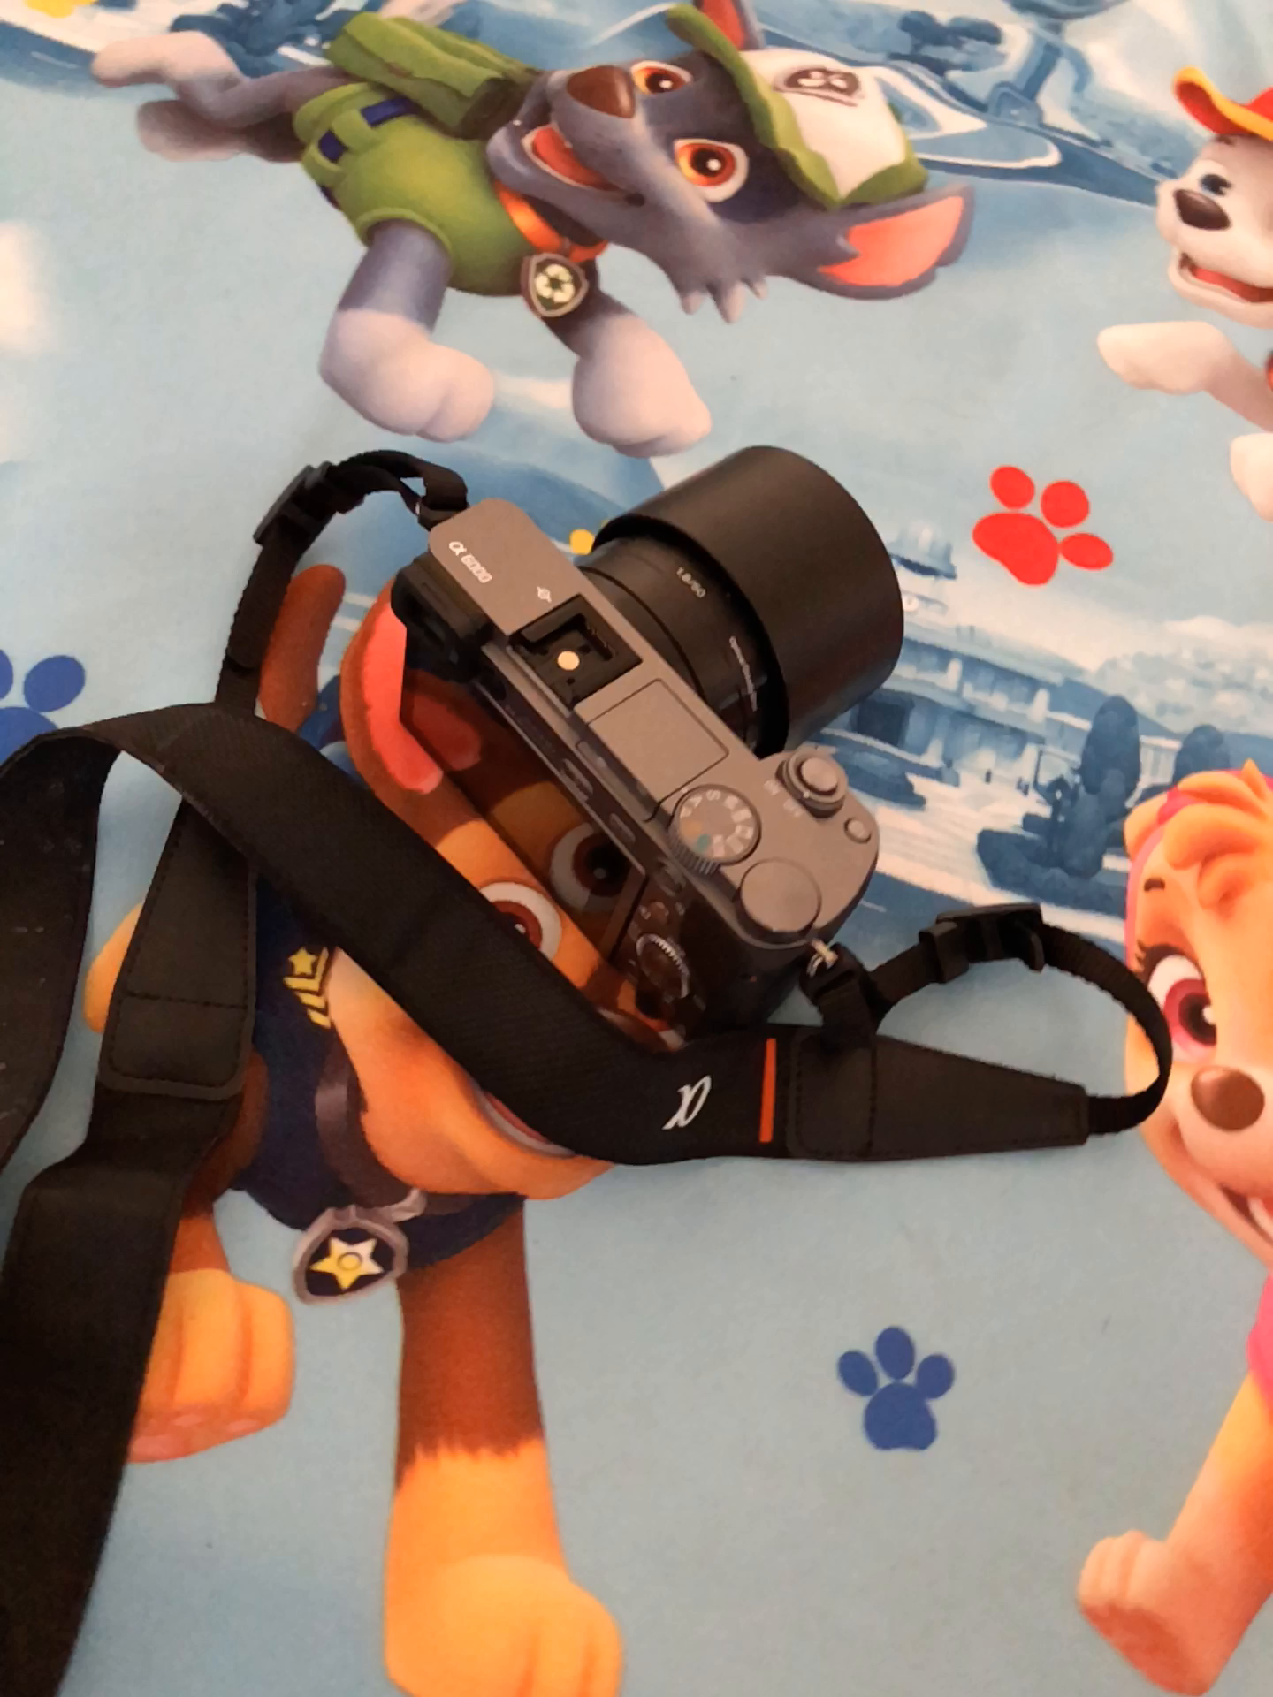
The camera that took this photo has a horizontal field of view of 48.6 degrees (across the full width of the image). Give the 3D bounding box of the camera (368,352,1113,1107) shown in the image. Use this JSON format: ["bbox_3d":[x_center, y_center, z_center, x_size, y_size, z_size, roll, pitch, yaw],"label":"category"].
[{"bbox_3d":[0.019,-0.031,0.349,0.110,0.080,0.130,-35,75,-26],"label":"camera"}]
